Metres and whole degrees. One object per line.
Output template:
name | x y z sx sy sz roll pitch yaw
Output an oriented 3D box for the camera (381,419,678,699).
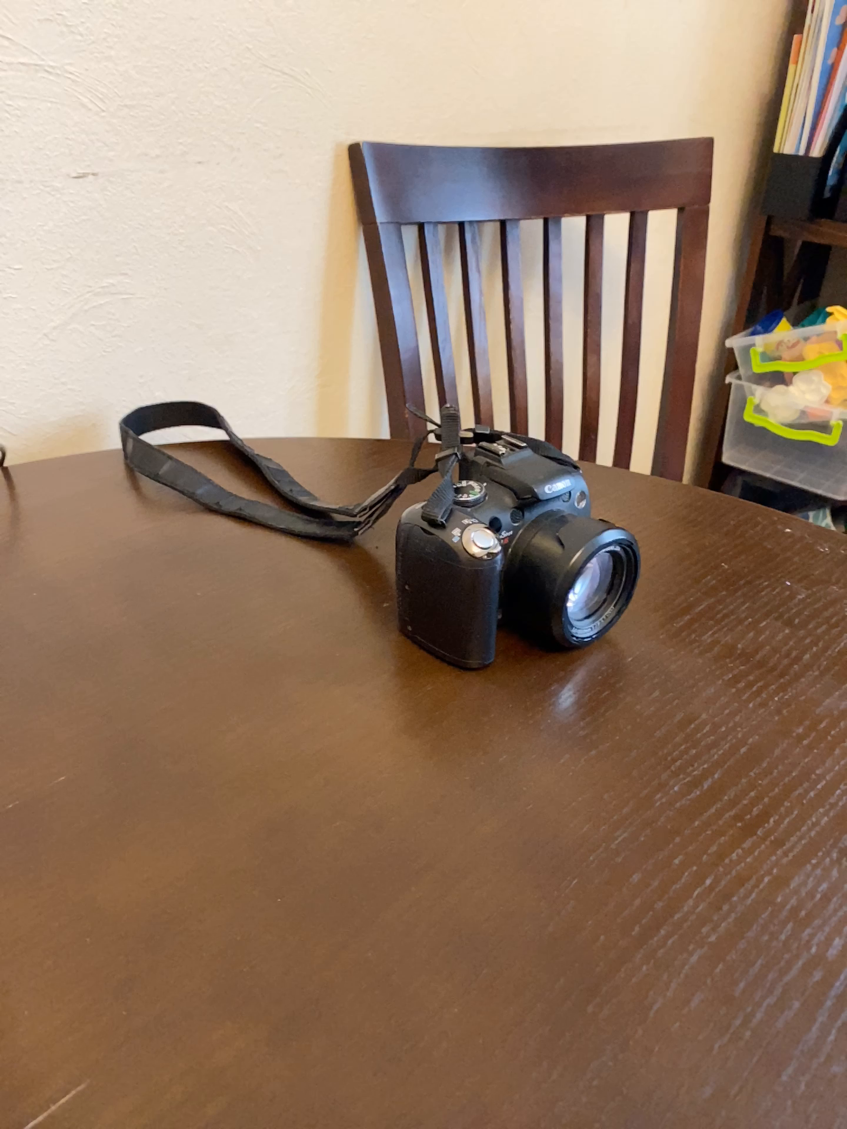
camera | 0.053 -0.009 0.447 0.123 0.088 0.082 -20 37 -35
